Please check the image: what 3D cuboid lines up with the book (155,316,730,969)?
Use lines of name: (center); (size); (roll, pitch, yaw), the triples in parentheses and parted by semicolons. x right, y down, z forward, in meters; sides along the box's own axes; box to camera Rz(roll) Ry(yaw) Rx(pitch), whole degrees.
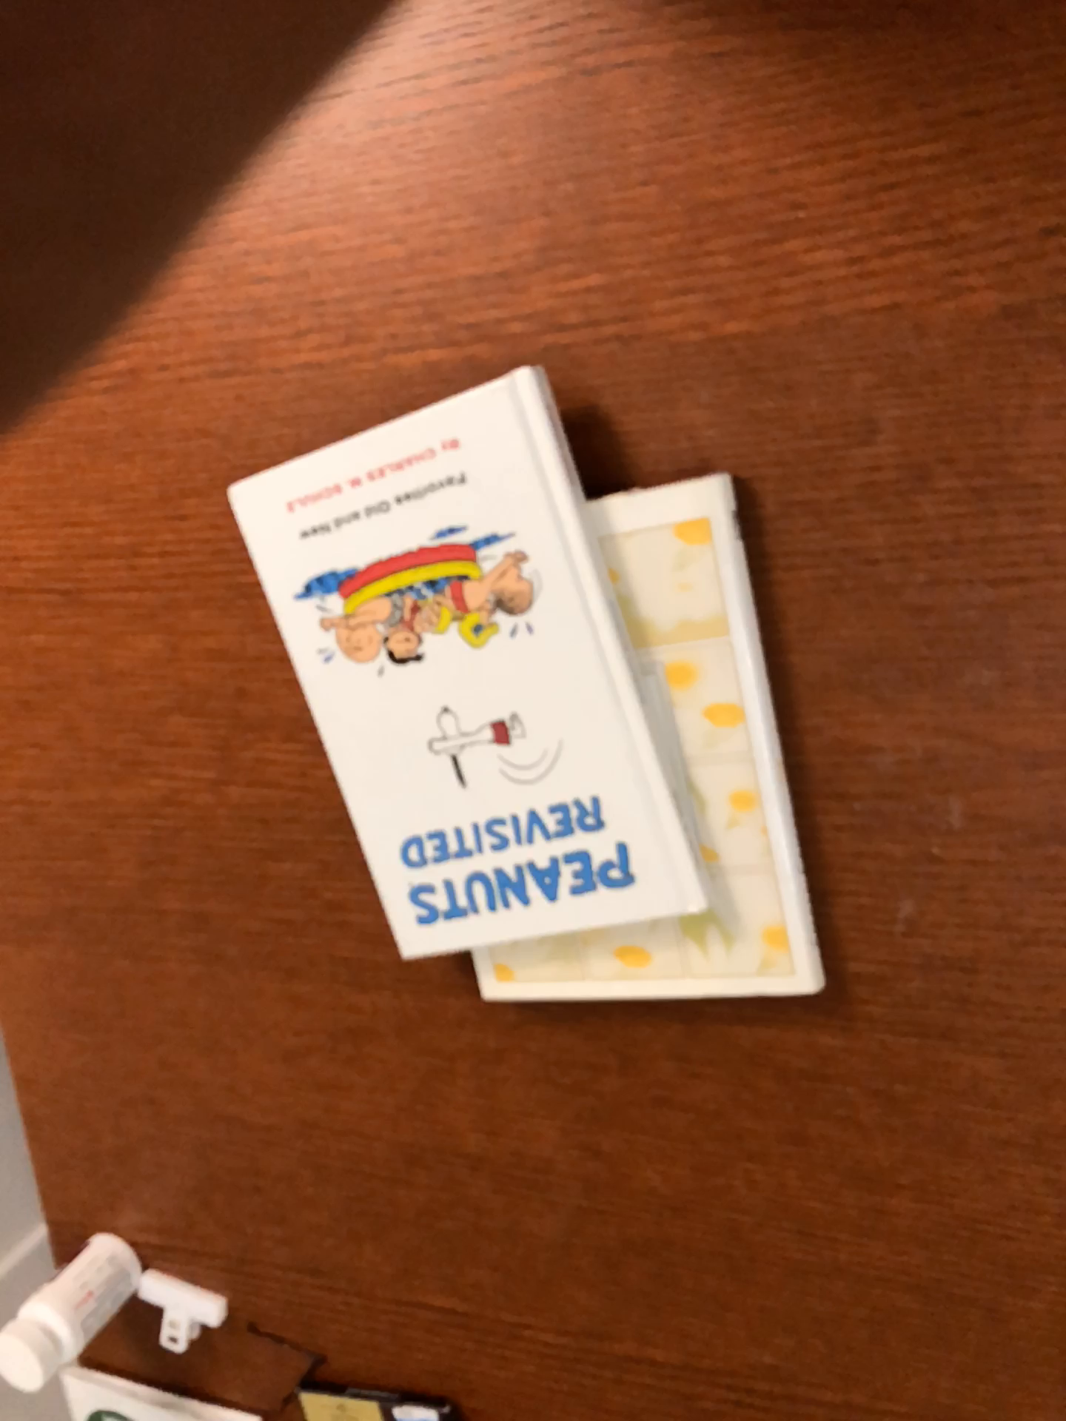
book: (-0.037, -0.014, 0.448); (0.160, 0.020, 0.210); (-16, 99, 26)
